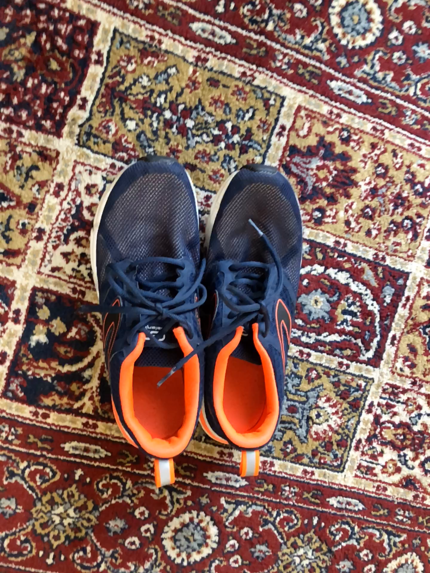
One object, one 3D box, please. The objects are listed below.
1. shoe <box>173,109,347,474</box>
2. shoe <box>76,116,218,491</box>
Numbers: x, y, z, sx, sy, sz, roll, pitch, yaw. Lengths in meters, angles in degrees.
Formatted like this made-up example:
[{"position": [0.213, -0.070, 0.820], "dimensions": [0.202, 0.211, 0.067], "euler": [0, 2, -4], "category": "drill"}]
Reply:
[{"position": [0.036, 0.007, 0.503], "dimensions": [0.120, 0.130, 0.330], "euler": [5, 94, -10], "category": "shoe"}, {"position": [-0.071, 0.015, 0.489], "dimensions": [0.120, 0.130, 0.330], "euler": [1, 95, -9], "category": "shoe"}]
